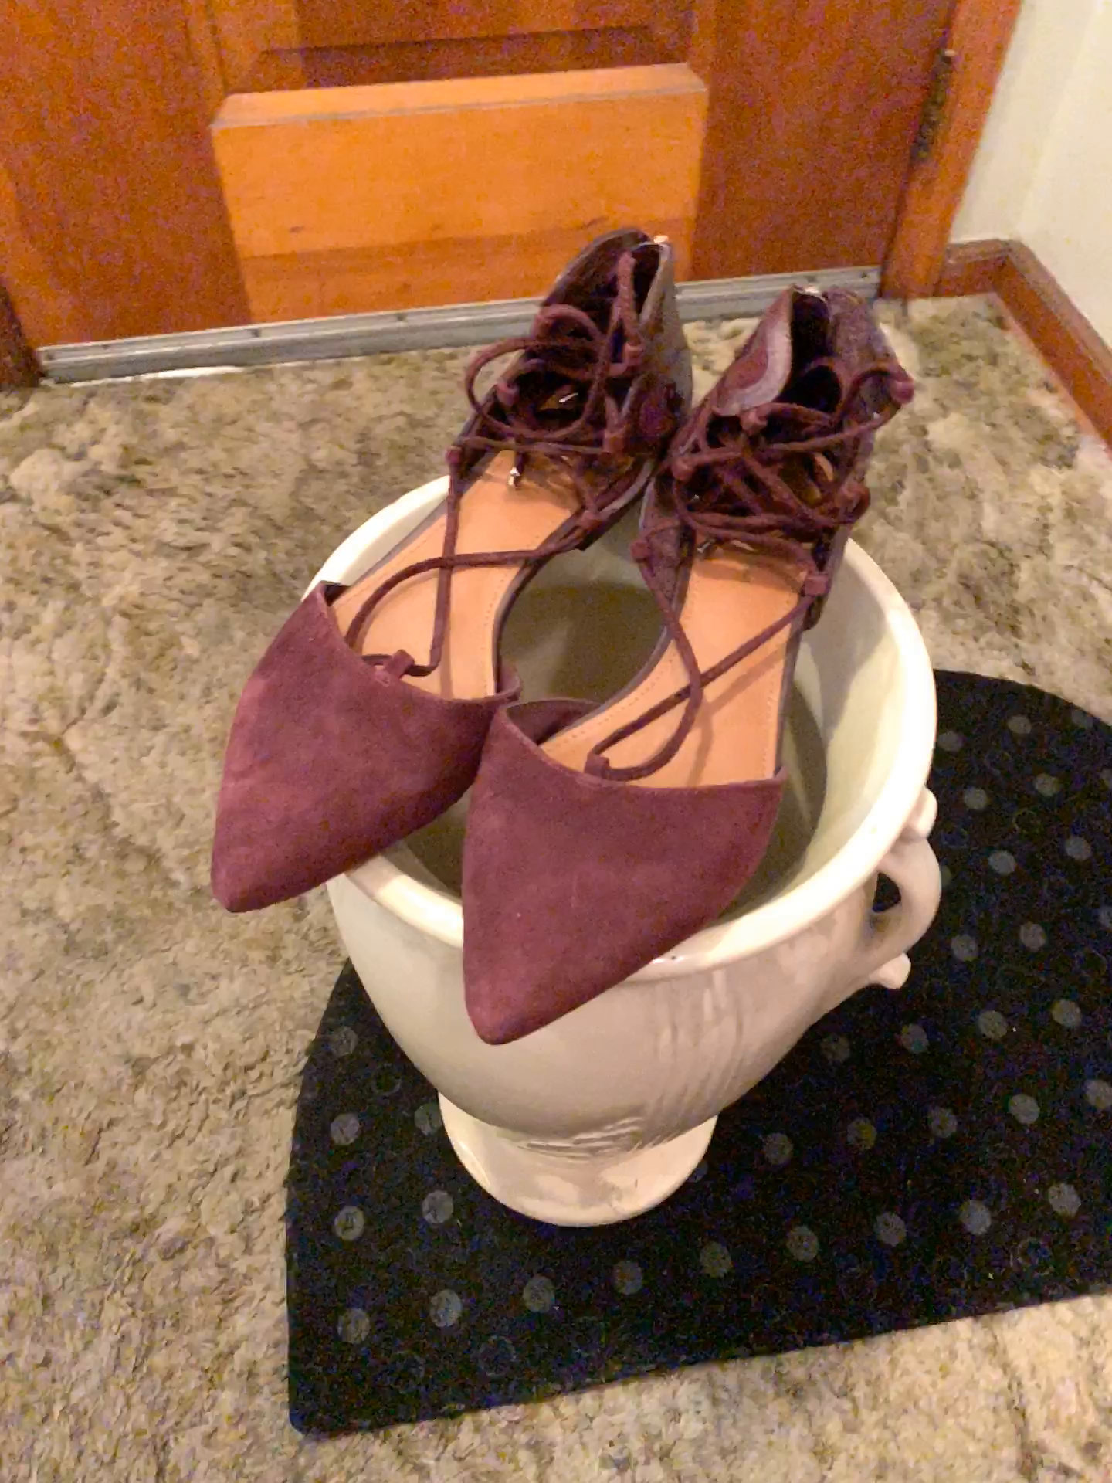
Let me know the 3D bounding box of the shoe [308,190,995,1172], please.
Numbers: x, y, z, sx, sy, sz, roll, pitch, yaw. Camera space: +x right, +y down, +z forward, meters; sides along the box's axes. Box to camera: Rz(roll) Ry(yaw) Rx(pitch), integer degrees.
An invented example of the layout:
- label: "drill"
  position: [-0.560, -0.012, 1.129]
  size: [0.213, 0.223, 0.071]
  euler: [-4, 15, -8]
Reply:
- label: "shoe"
  position: [0.042, -0.033, 0.338]
  size: [0.090, 0.070, 0.282]
  euler: [19, 66, 13]

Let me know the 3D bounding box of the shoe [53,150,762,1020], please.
- label: "shoe"
  position: [-0.033, -0.060, 0.383]
  size: [0.090, 0.070, 0.281]
  euler: [25, 74, 17]
